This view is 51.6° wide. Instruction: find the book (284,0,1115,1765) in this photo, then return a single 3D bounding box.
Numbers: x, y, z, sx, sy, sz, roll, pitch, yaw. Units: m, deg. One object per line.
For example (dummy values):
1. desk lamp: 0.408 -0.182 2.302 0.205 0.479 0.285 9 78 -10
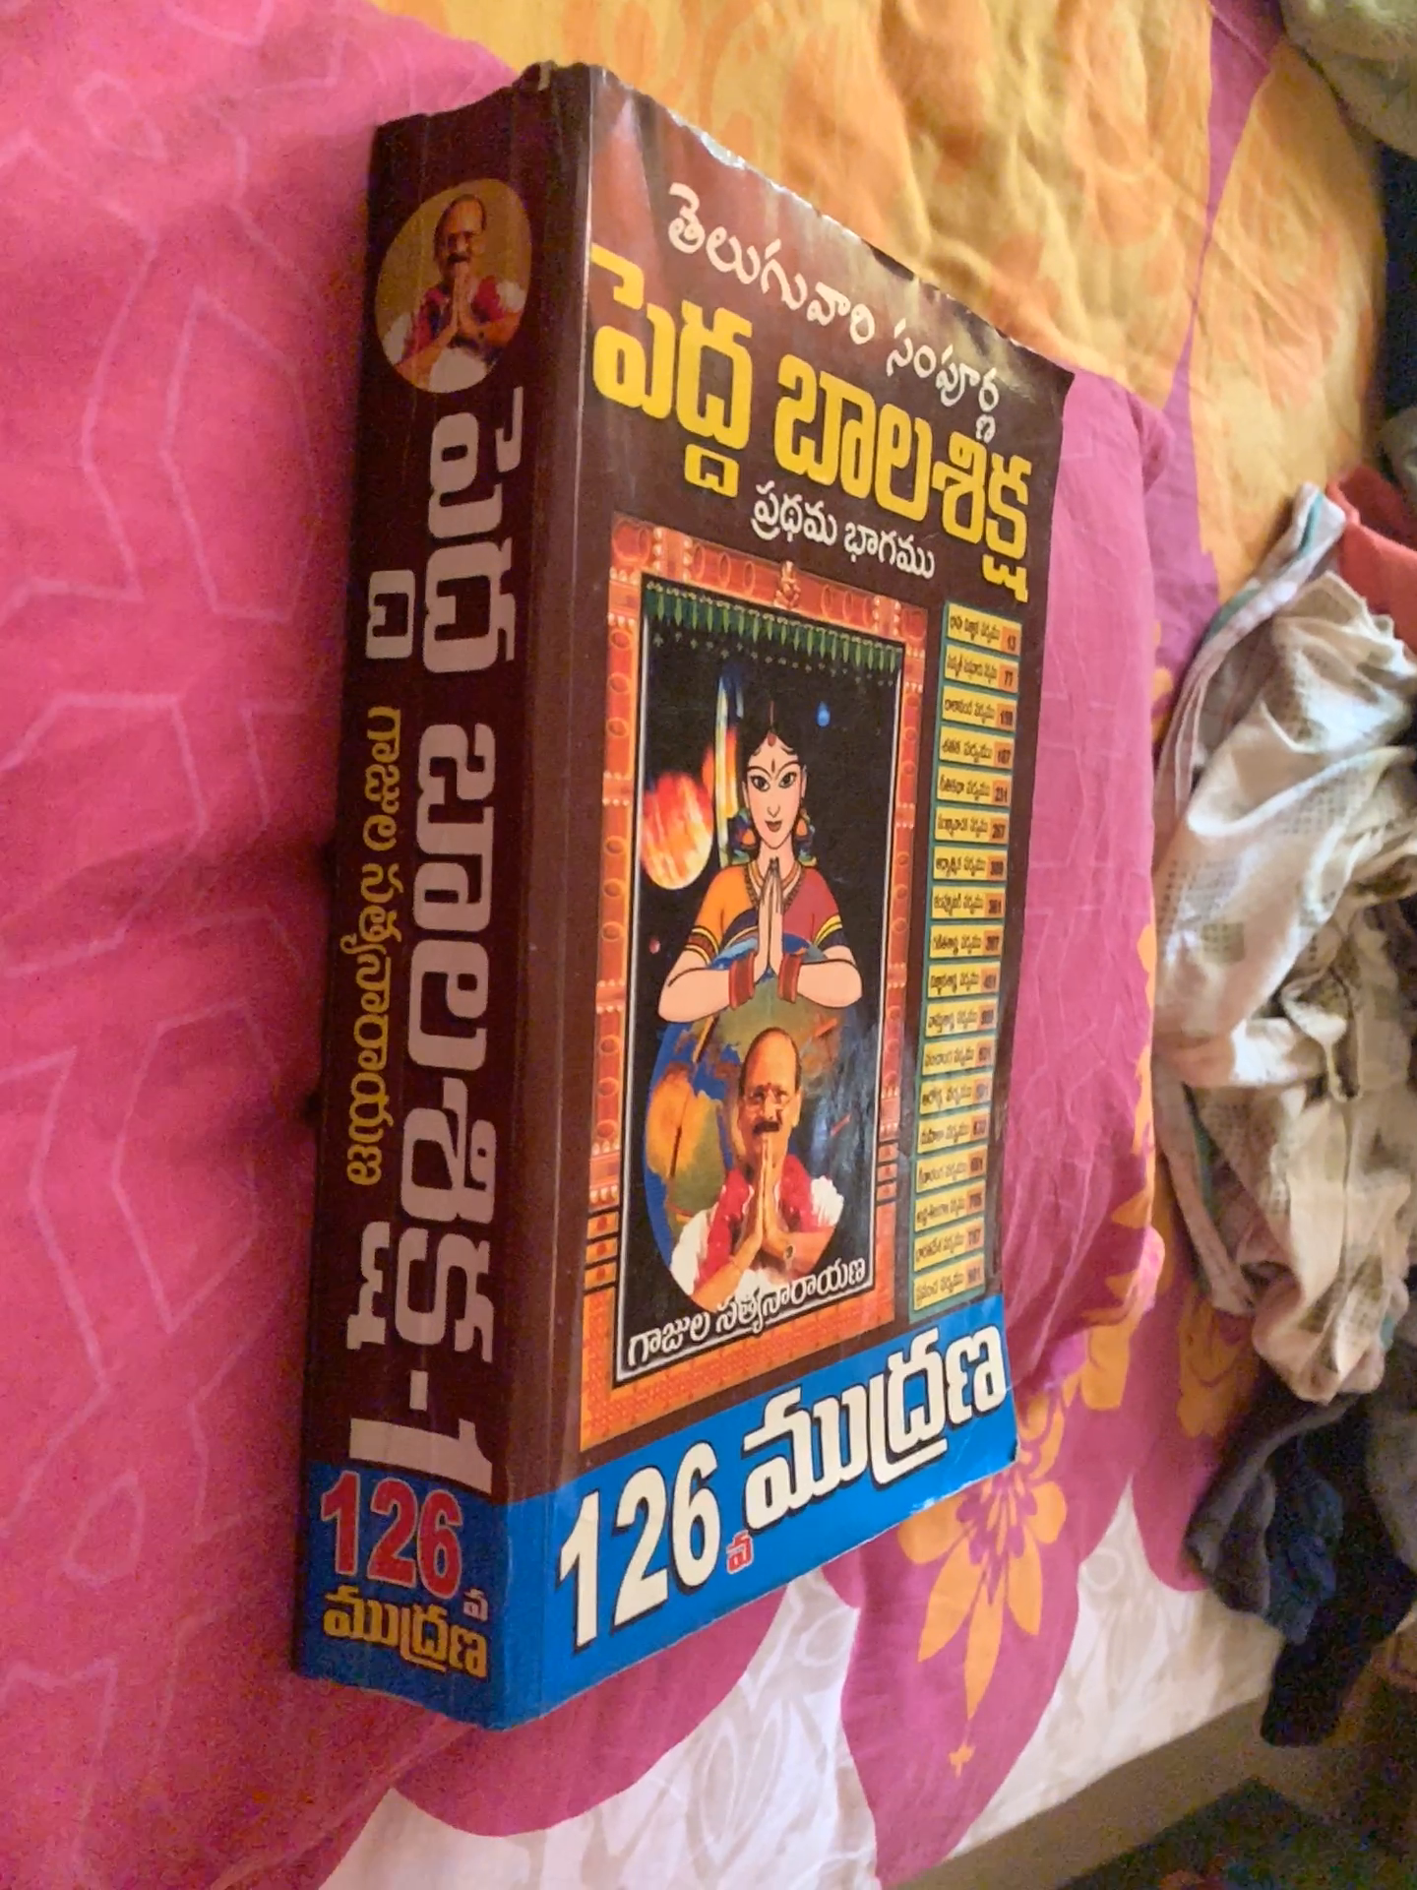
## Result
1. book: 0.012 -0.016 0.288 0.181 0.050 0.260 0 92 -50
